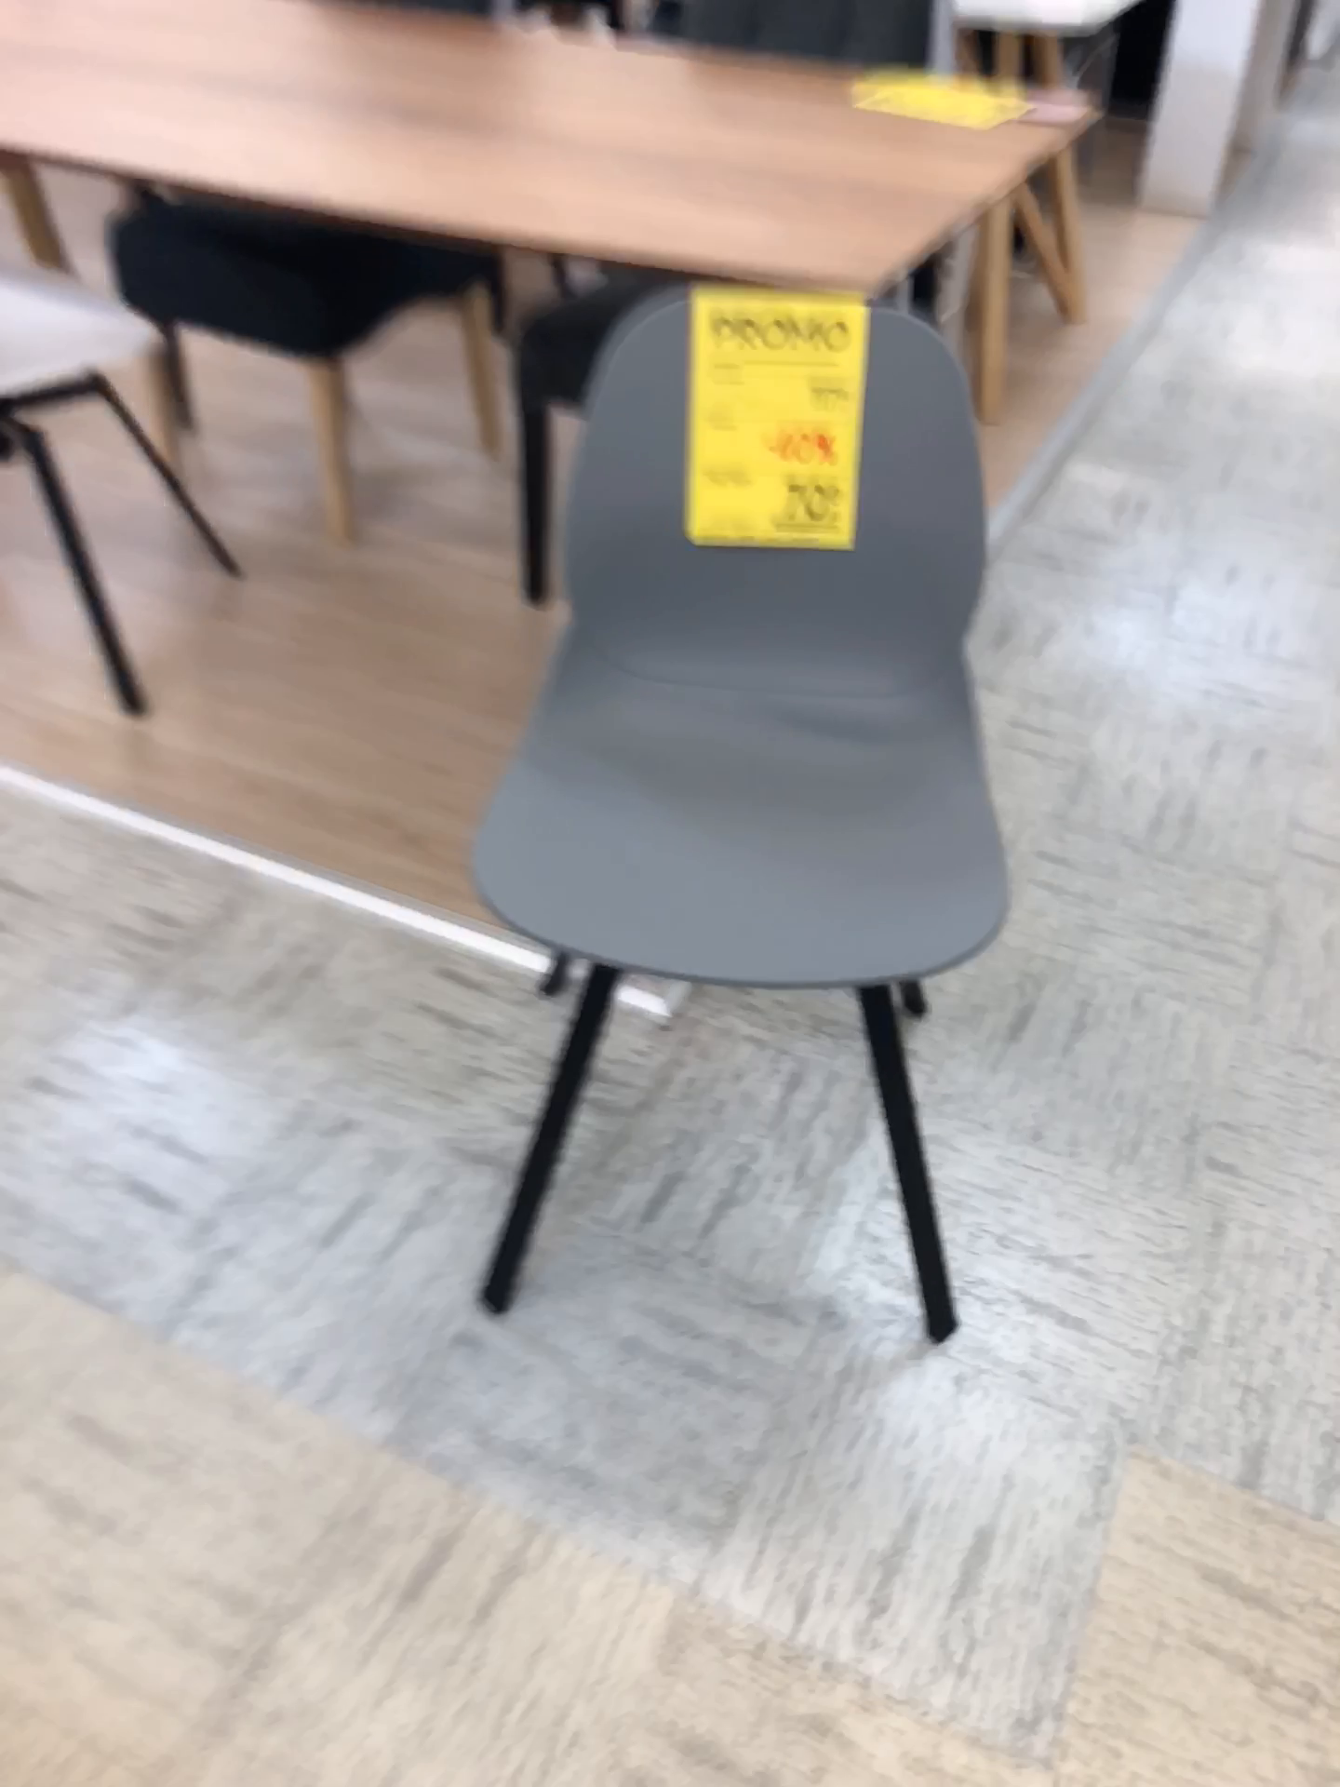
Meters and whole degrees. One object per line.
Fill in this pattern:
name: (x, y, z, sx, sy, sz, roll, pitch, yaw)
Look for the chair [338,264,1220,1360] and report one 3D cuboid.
chair: (0.064, -0.068, 1.321, 0.510, 0.755, 0.584, 2, 40, 1)
